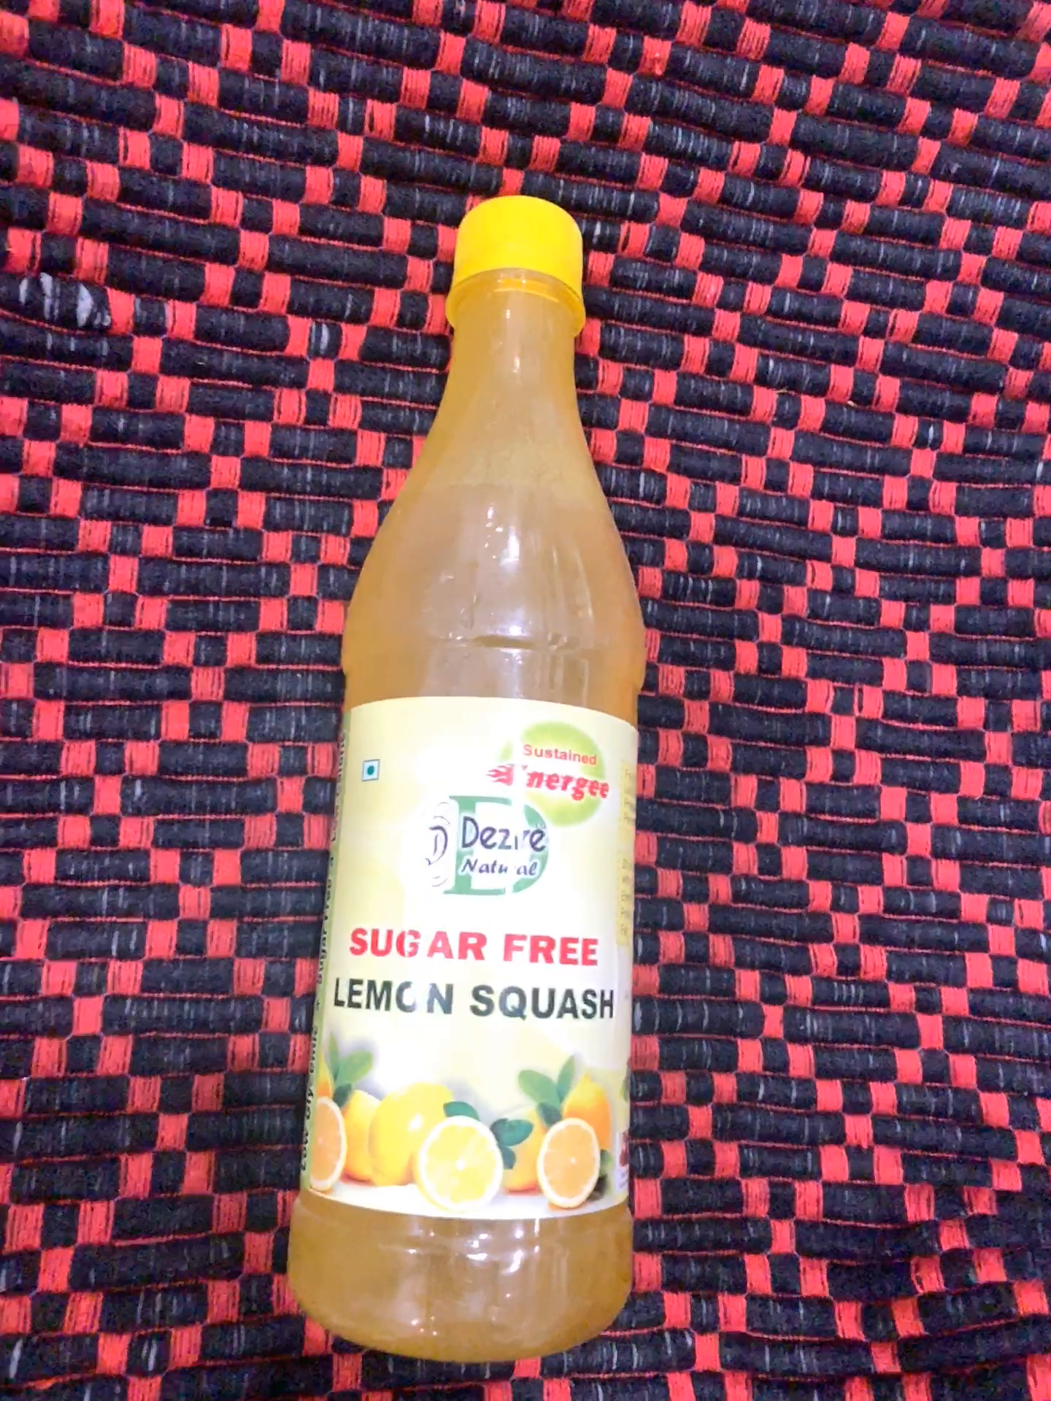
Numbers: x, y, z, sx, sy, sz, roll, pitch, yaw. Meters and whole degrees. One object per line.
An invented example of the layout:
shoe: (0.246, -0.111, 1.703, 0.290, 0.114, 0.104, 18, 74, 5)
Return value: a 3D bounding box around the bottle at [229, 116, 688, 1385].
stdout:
bottle: (-0.012, 0.001, 0.226, 0.070, 0.060, 0.230, 6, 72, -13)
